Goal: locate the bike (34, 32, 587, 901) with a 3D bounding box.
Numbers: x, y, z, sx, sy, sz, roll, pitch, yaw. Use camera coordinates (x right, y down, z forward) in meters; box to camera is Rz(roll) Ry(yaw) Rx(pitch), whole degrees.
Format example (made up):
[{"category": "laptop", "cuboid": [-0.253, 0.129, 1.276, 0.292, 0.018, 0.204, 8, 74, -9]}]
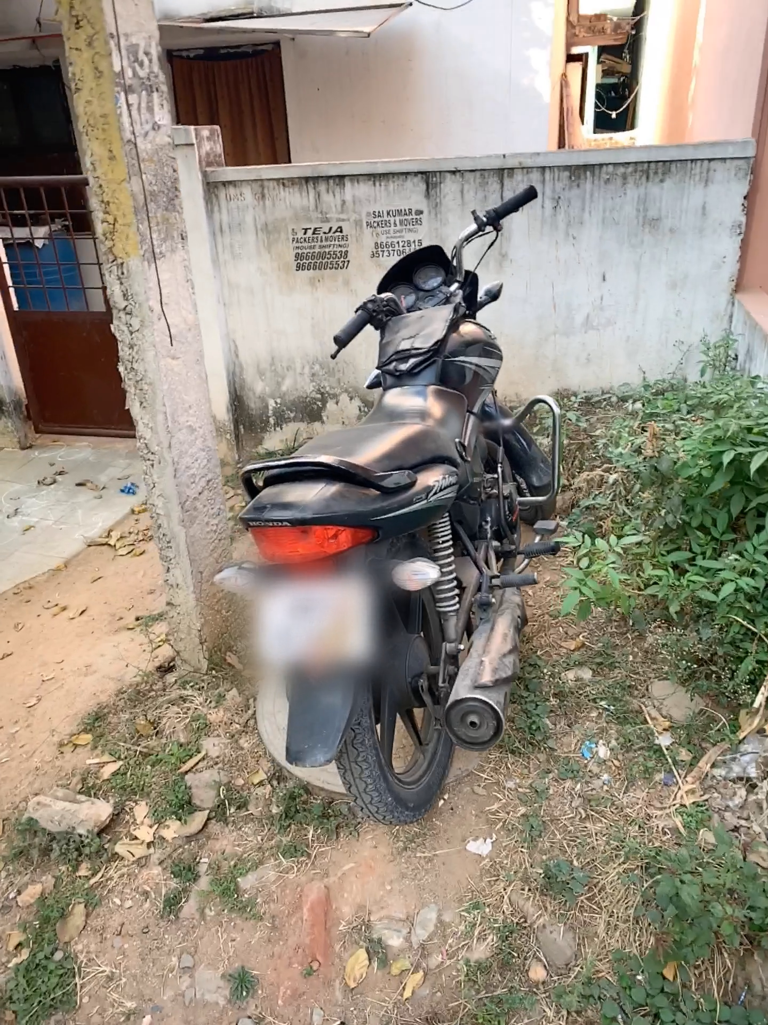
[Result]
[{"category": "bike", "cuboid": [0.015, -0.230, 1.718, 0.734, 1.101, 1.246, 4, 36, 12]}]
